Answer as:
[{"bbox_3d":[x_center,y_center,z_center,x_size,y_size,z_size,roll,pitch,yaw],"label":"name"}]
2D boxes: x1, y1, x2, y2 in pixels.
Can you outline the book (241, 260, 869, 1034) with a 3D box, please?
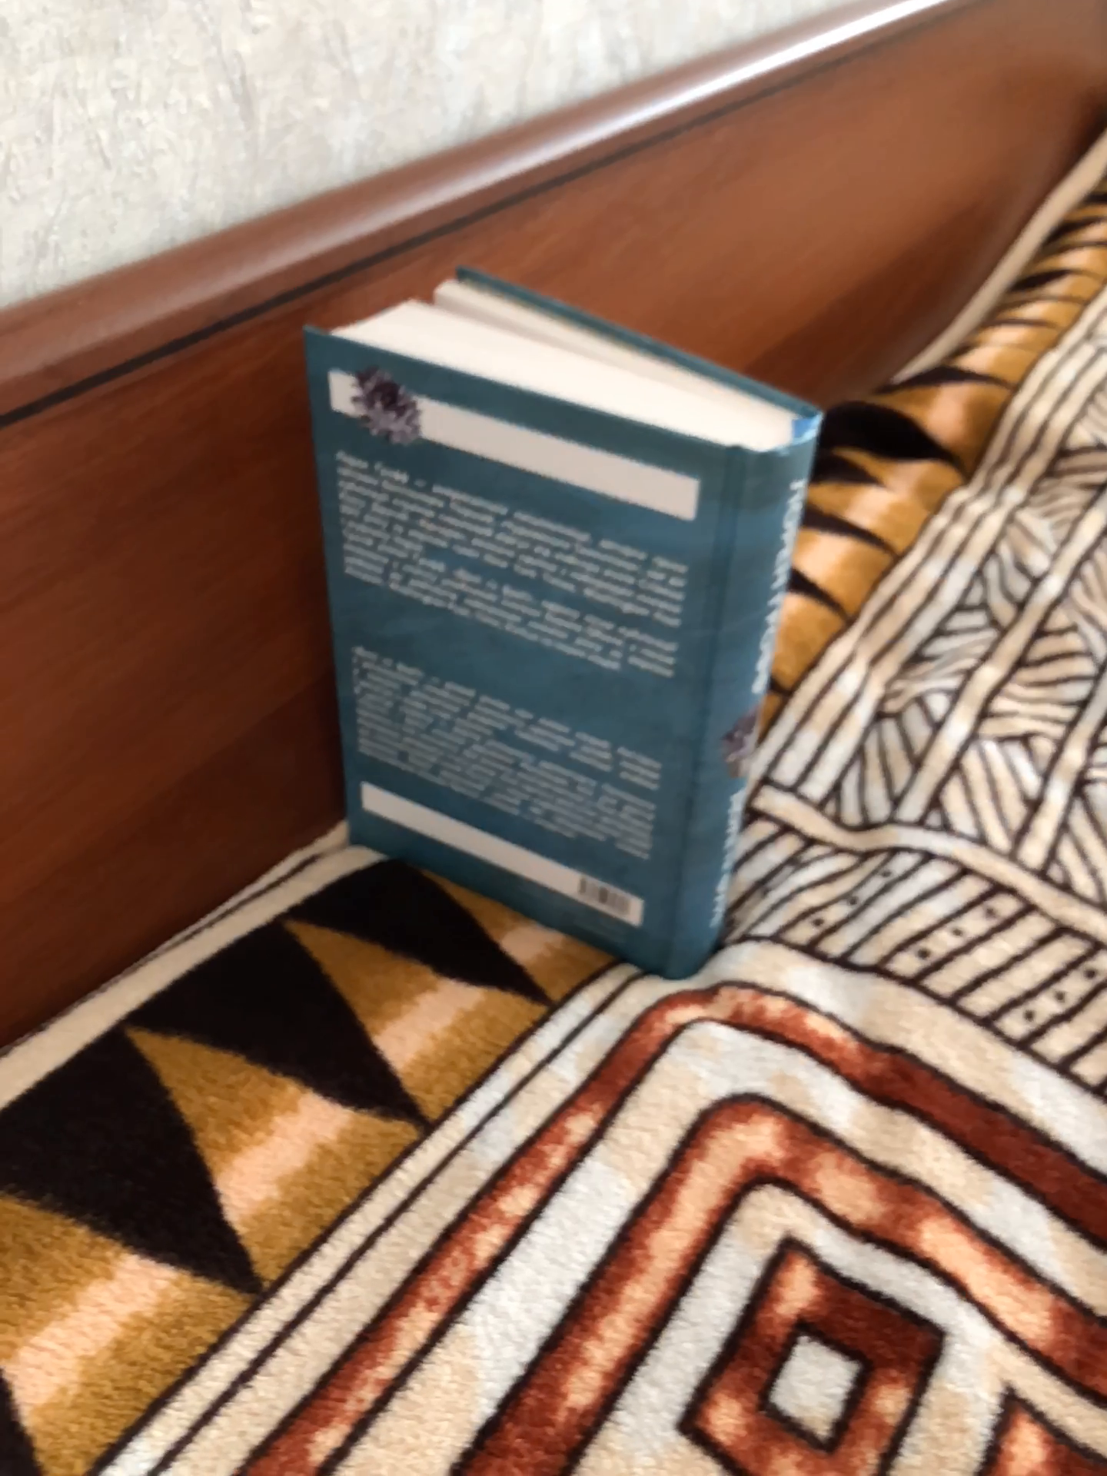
[{"bbox_3d":[-0.004,-0.030,0.409,0.160,0.199,0.078,25,44,27],"label":"book"}]
